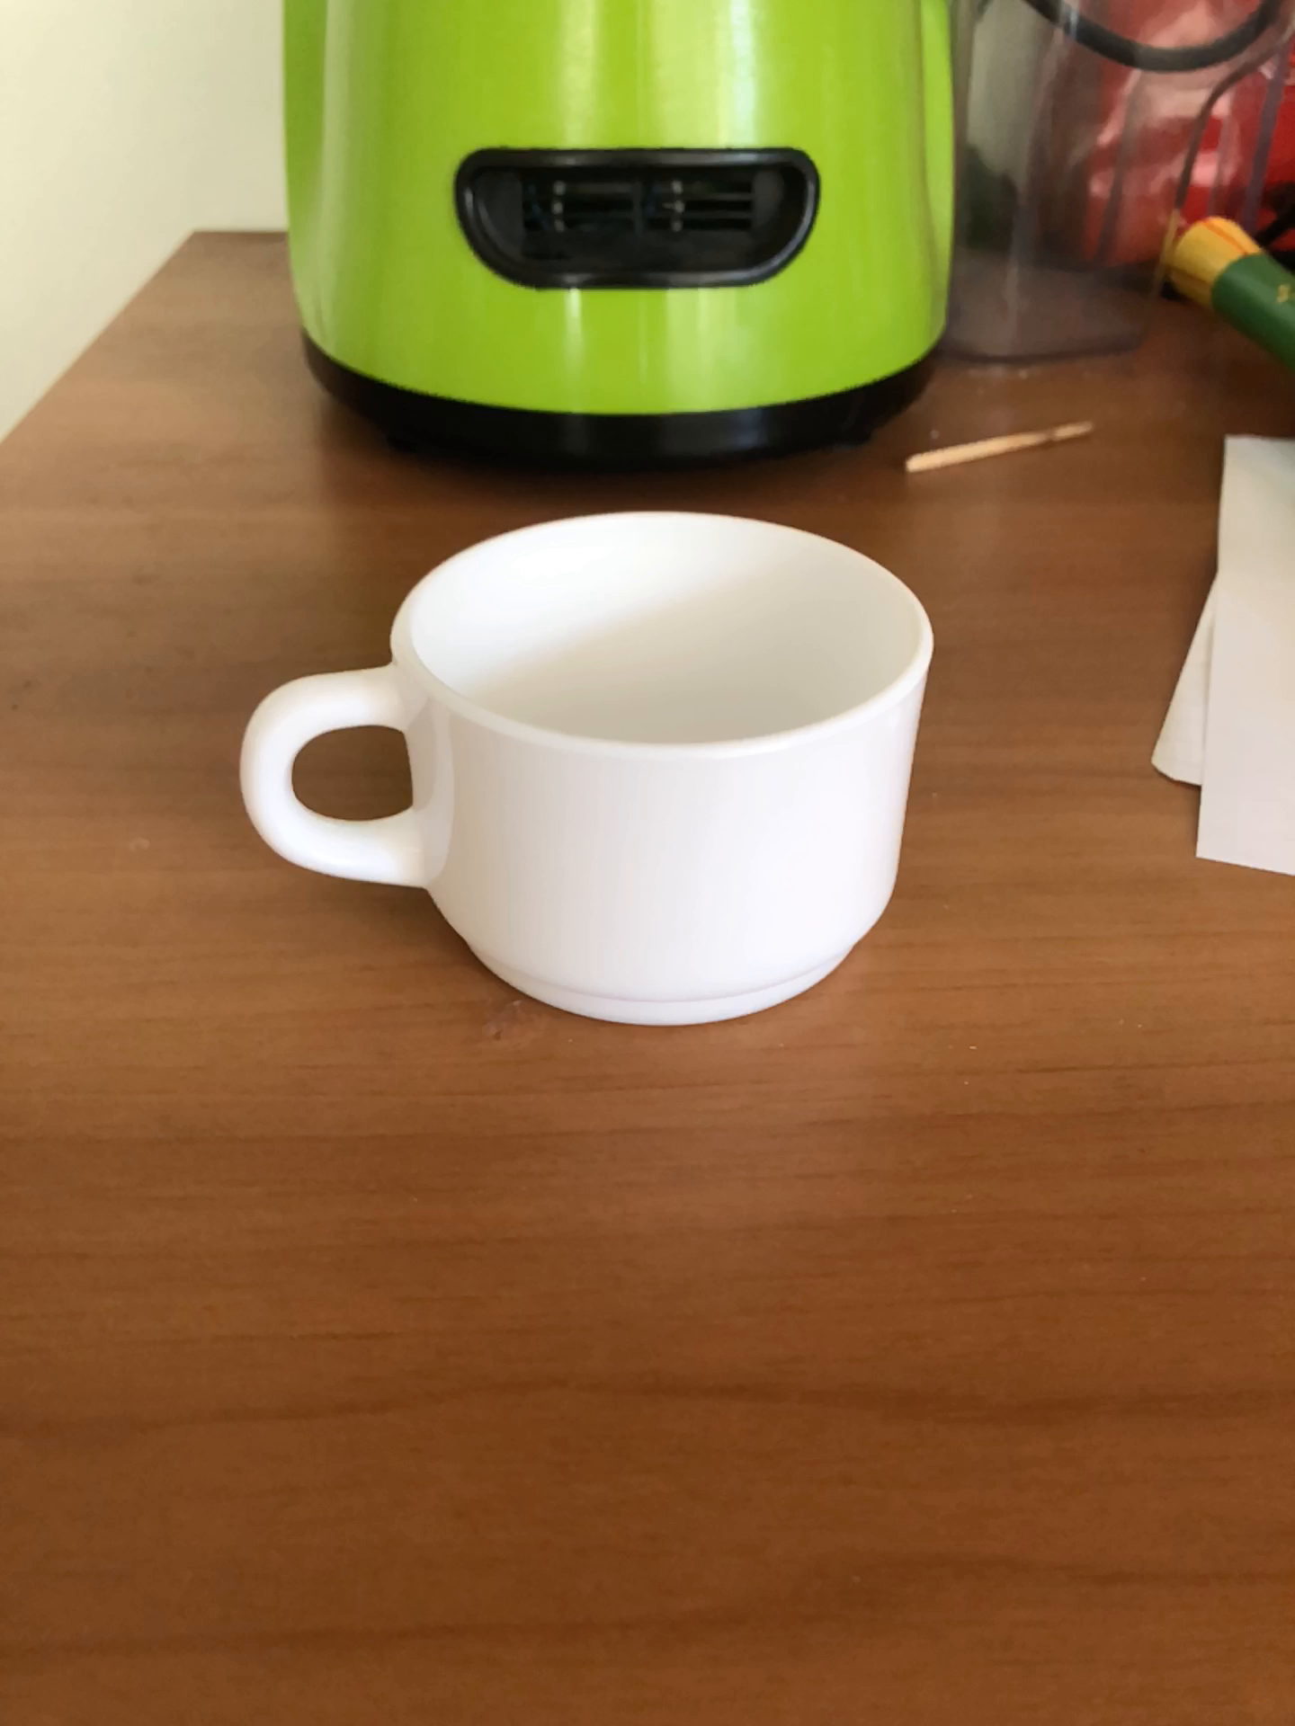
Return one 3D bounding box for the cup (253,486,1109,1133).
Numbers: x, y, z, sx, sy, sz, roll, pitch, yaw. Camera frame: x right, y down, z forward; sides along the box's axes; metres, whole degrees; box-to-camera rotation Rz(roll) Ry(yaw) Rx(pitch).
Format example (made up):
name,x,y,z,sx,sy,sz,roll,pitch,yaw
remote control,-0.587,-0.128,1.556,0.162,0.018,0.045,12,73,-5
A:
name,x,y,z,sx,sy,sz,roll,pitch,yaw
cup,-0.001,-0.014,0.212,0.100,0.050,0.080,-6,36,-9
